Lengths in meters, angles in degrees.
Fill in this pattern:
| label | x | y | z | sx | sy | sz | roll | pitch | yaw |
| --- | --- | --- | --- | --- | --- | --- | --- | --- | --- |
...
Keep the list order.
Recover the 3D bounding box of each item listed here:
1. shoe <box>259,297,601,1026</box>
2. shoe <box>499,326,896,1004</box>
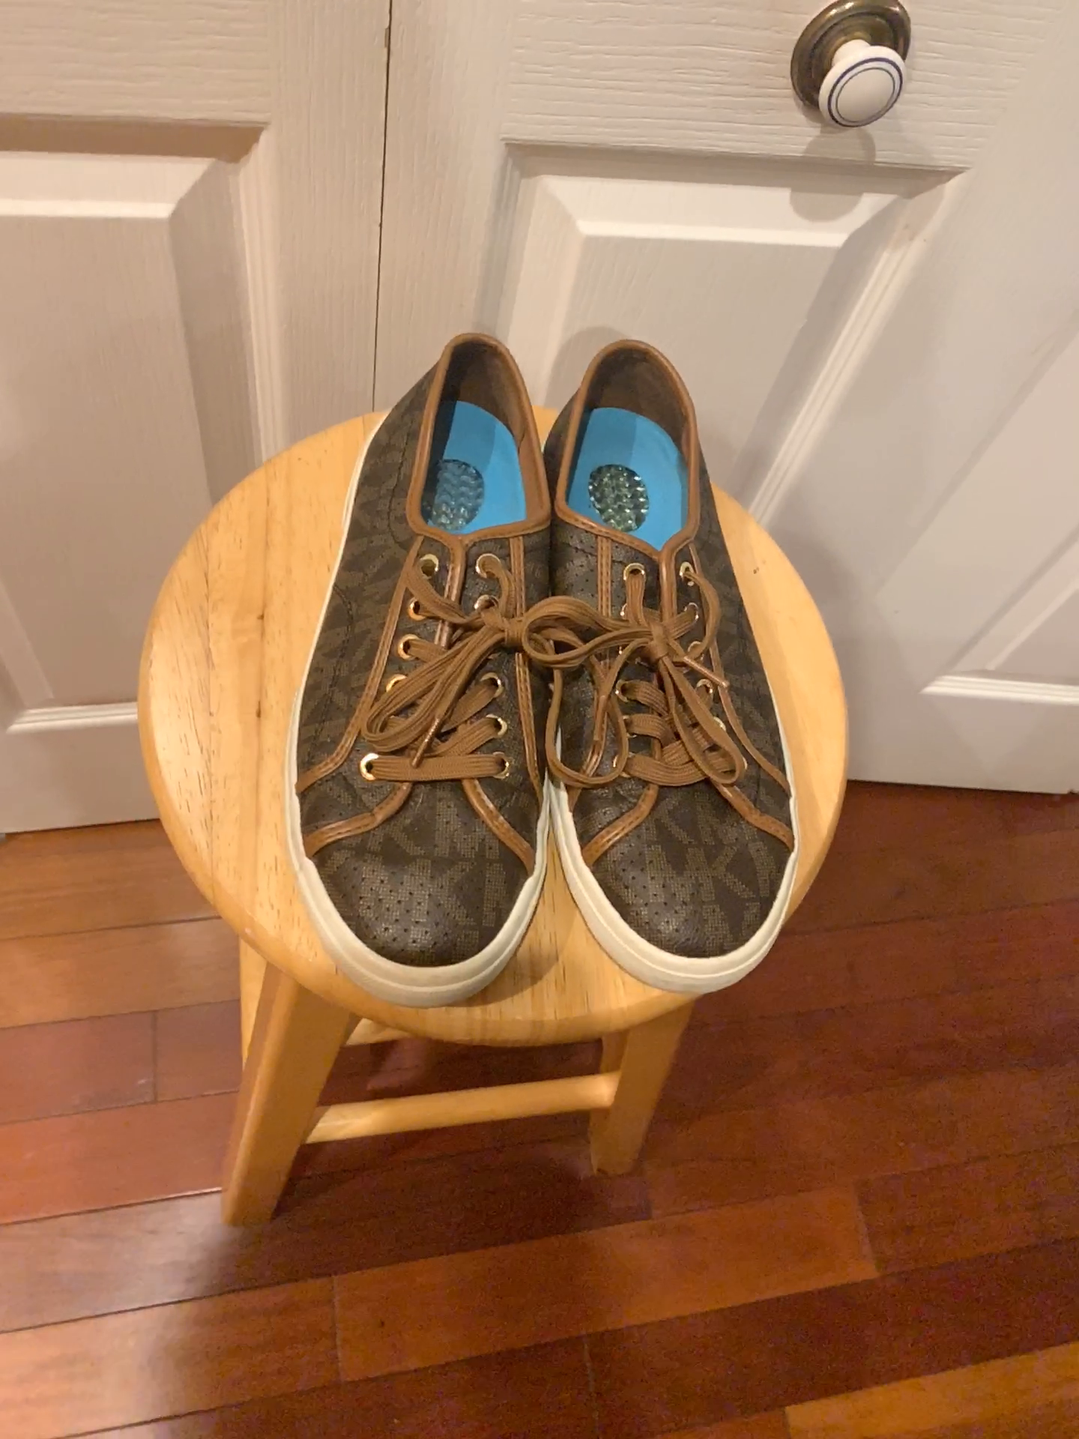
| label | x | y | z | sx | sy | sz | roll | pitch | yaw |
| --- | --- | --- | --- | --- | --- | --- | --- | --- | --- |
| shoe | -0.036 | -0.027 | 0.424 | 0.100 | 0.090 | 0.261 | 5 | 62 | -8 |
| shoe | 0.048 | -0.029 | 0.444 | 0.100 | 0.080 | 0.261 | -1 | 63 | -11 |
